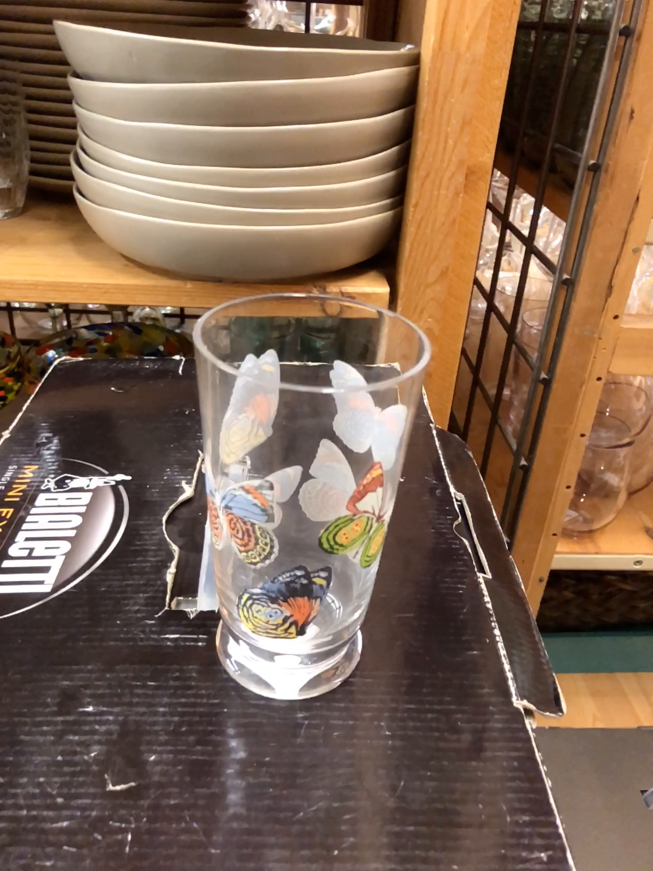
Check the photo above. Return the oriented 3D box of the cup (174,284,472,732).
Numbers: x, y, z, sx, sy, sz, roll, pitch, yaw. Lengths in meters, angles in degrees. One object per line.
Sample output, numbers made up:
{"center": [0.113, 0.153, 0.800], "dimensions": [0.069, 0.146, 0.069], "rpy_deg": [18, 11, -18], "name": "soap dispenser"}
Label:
{"center": [-0.004, 0.024, 0.246], "dimensions": [0.074, 0.125, 0.079], "rpy_deg": [3, 30, -2], "name": "cup"}
